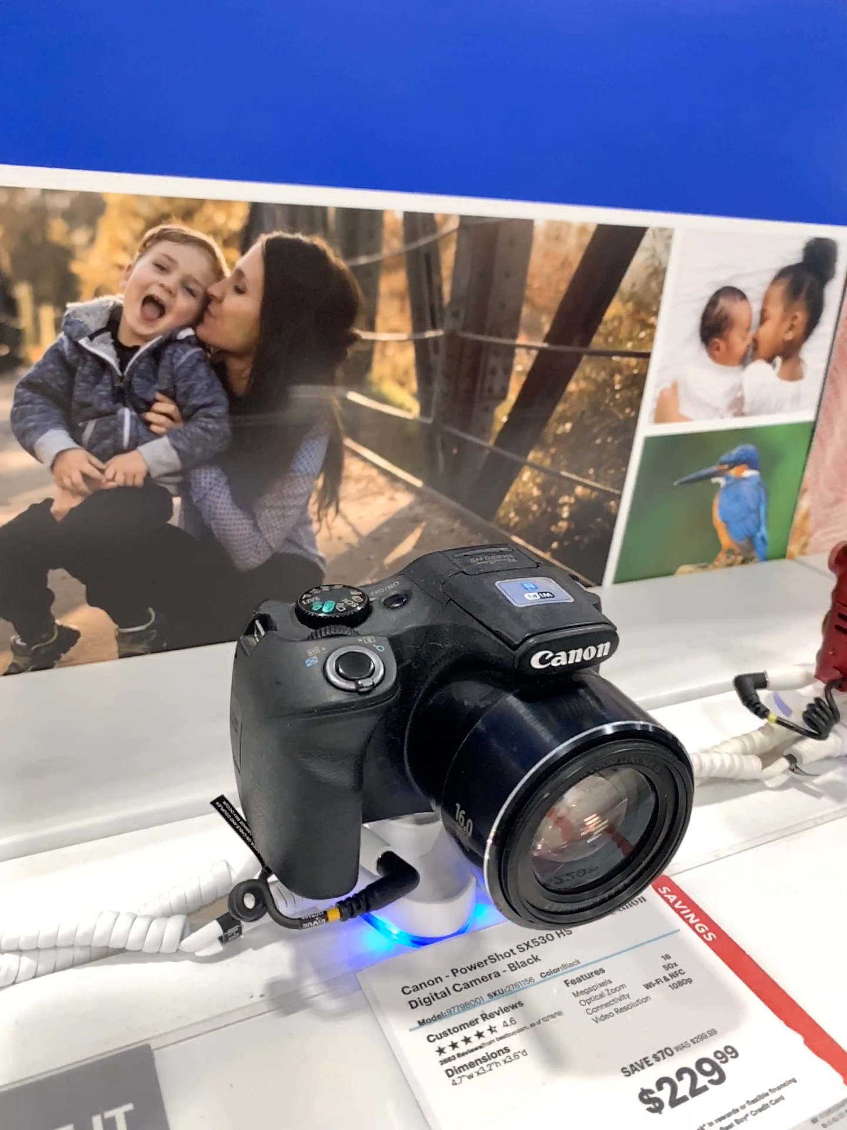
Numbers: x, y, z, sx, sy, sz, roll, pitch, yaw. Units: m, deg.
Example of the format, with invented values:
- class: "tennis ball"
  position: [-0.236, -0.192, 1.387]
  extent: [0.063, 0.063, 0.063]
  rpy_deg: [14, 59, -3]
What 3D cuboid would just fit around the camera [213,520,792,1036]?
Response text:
- class: "camera"
  position: [0.015, 0.044, 0.245]
  extent: [0.124, 0.080, 0.090]
  rpy_deg: [-7, 23, -28]
